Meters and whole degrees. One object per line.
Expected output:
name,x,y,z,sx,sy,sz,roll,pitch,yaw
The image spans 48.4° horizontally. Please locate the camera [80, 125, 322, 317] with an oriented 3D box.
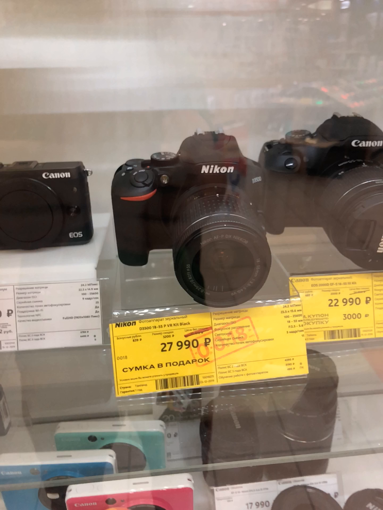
camera,0.002,-0.033,0.302,0.130,0.092,0.121,-3,25,-5
